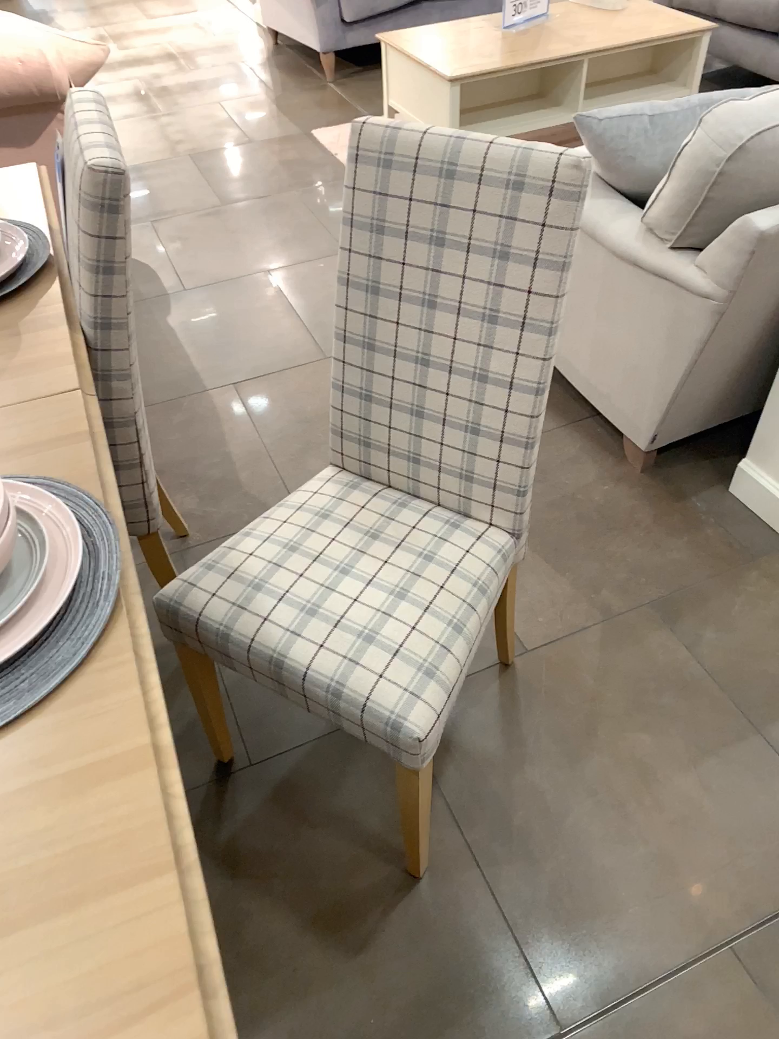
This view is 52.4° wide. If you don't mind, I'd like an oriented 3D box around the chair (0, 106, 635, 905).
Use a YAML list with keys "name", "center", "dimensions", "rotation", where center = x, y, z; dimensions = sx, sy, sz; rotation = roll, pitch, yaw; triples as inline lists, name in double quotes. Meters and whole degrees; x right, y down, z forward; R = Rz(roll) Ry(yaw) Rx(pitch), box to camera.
- name: "chair"
  center: [-0.021, 0.020, 1.155]
  dimensions: [0.429, 0.938, 0.570]
  rotation: [20, 49, 21]
